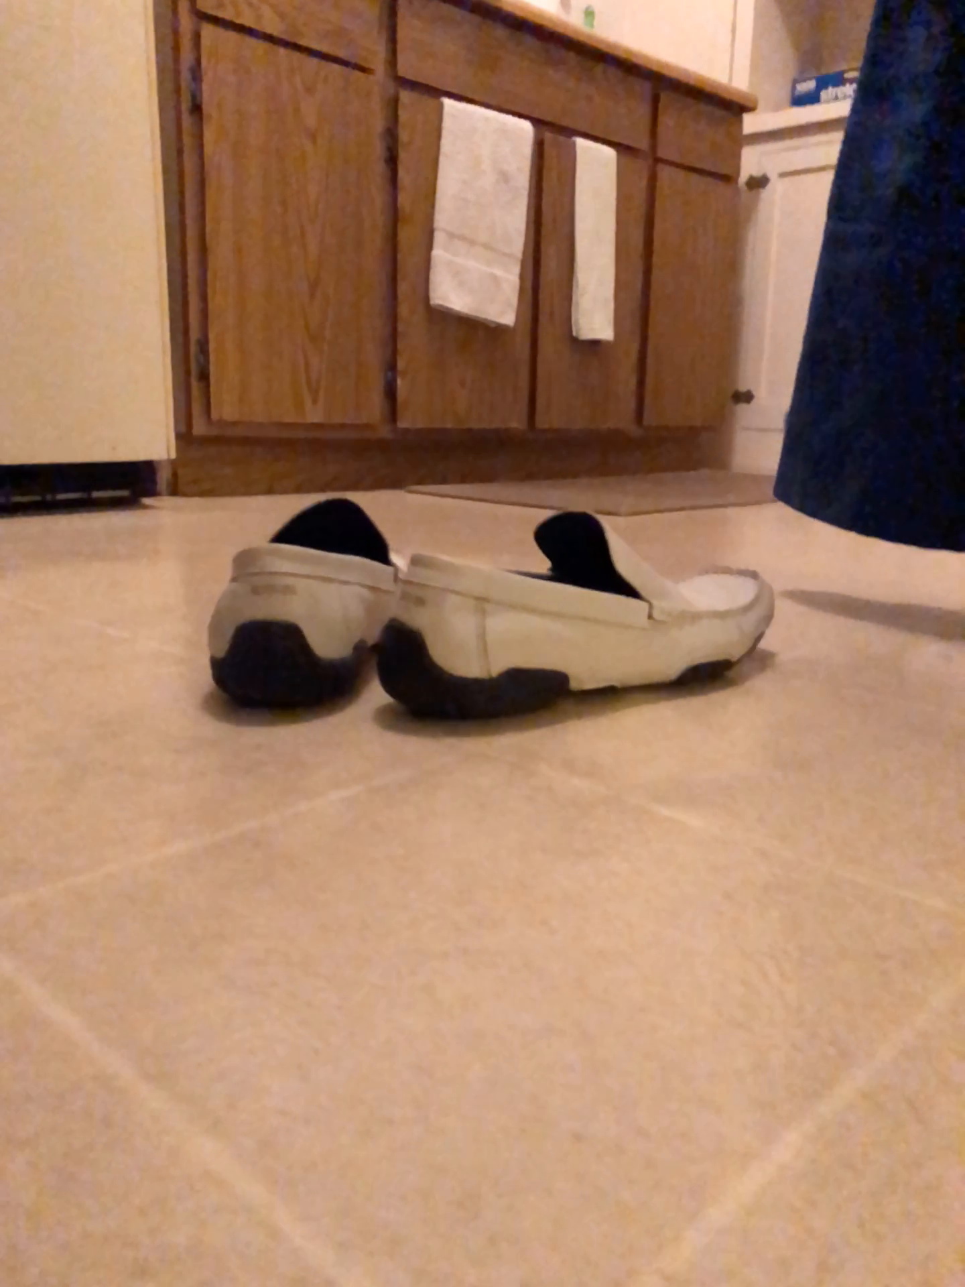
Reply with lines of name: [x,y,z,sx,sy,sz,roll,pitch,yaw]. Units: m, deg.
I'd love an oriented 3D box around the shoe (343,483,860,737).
shoe: [0.076,-0.033,0.593,0.290,0.097,0.111,-9,16,-38]

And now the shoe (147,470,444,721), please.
shoe: [-0.091,-0.046,0.638,0.110,0.097,0.307,1,13,2]
